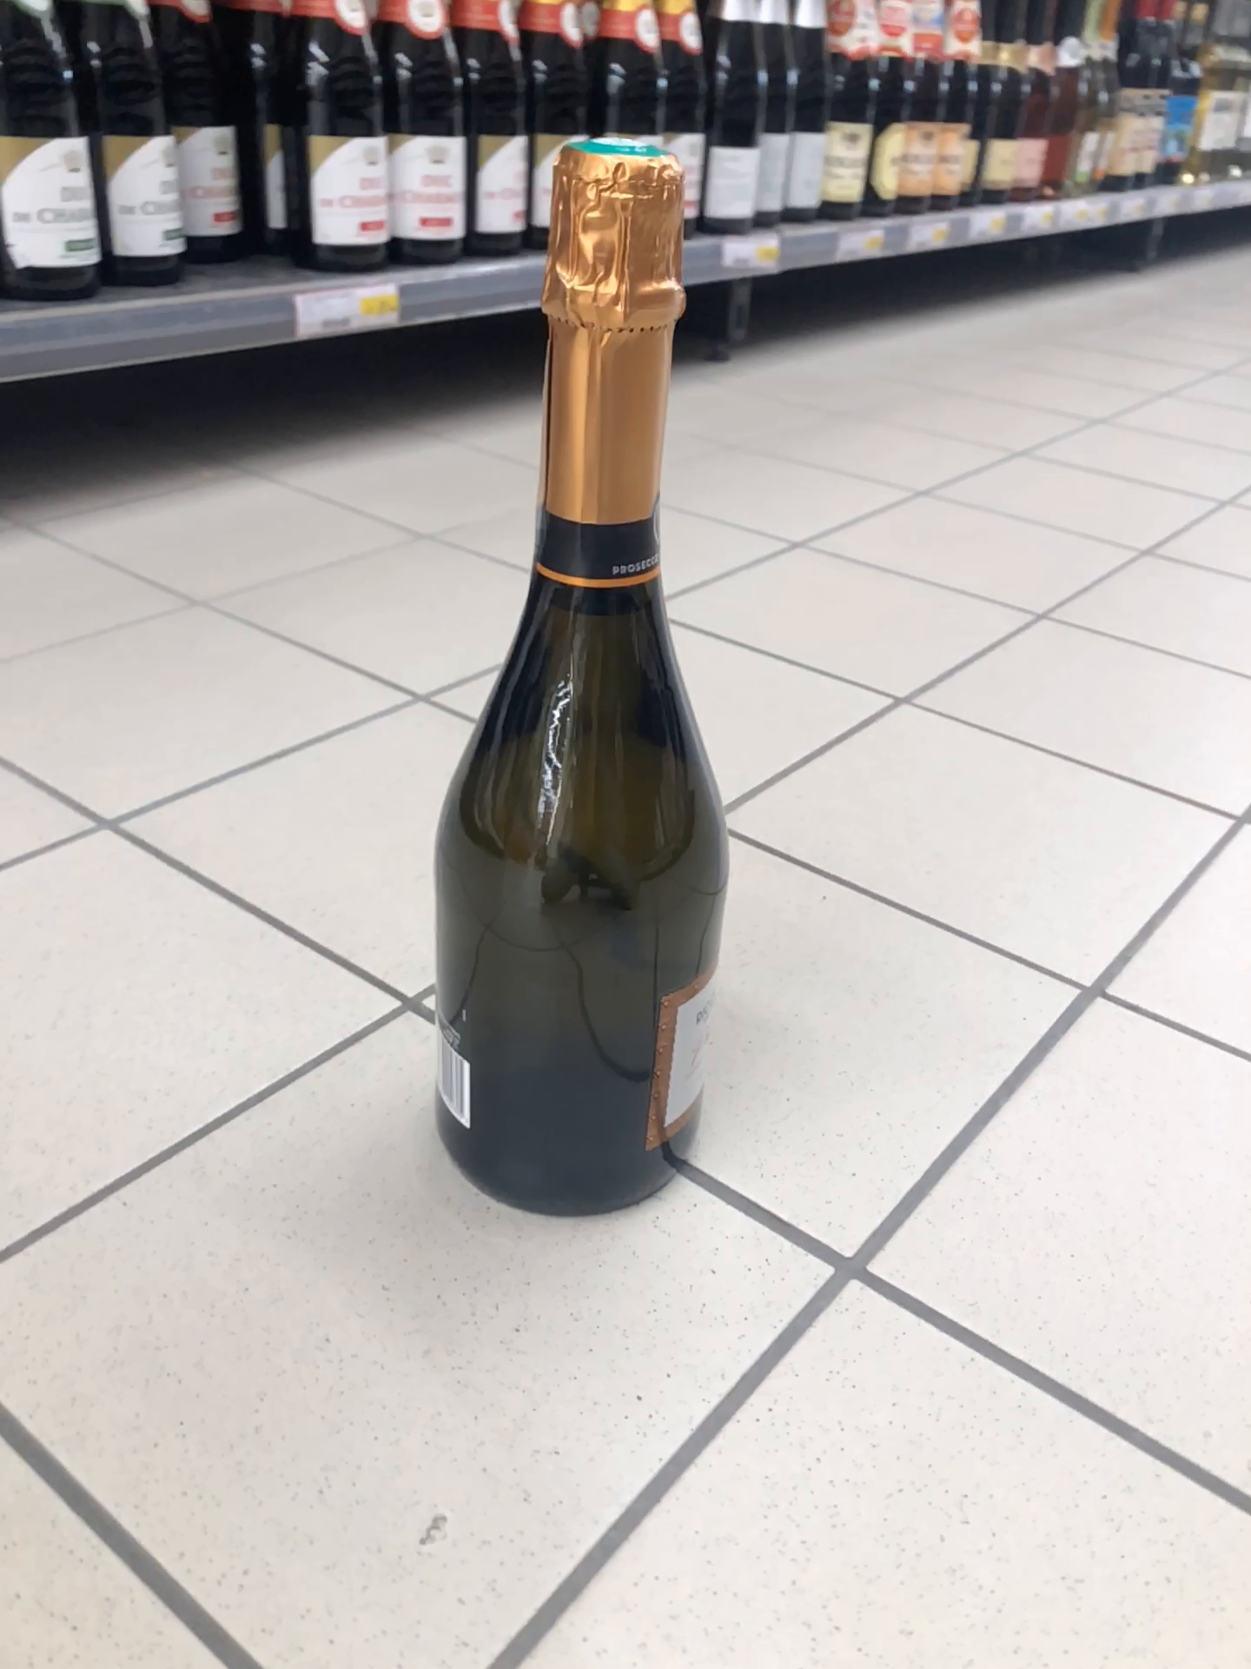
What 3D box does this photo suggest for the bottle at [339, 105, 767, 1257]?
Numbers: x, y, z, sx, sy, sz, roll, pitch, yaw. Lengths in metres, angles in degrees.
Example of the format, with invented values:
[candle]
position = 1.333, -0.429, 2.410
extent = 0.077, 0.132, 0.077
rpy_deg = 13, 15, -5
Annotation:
[bottle]
position = -0.021, -0.033, 0.410
extent = 0.090, 0.318, 0.101
rpy_deg = 6, 29, 3
